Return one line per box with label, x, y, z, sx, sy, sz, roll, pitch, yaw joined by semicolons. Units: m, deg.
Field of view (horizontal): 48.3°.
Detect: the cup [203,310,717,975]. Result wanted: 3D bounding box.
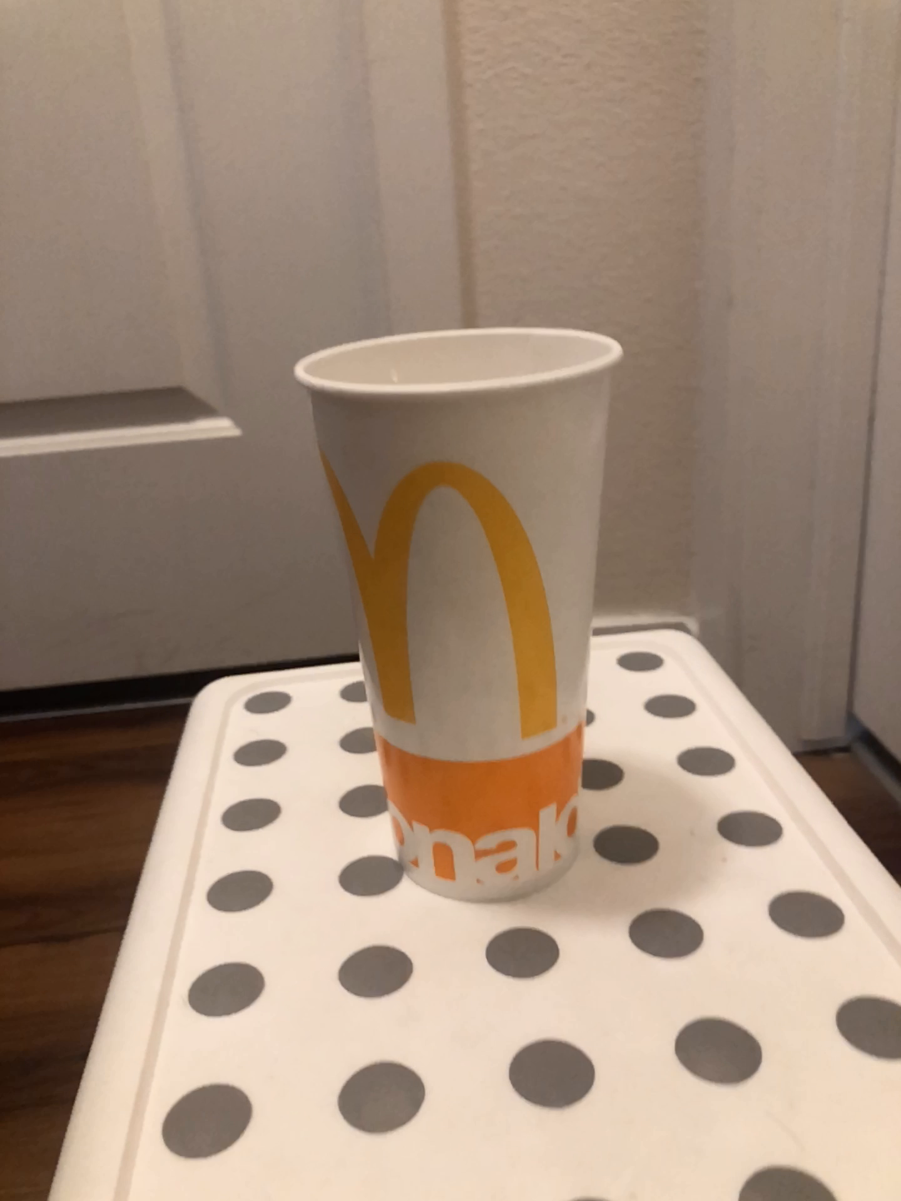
cup;0.008;0.001;0.302;0.099;0.155;0.100;-5;22;2
